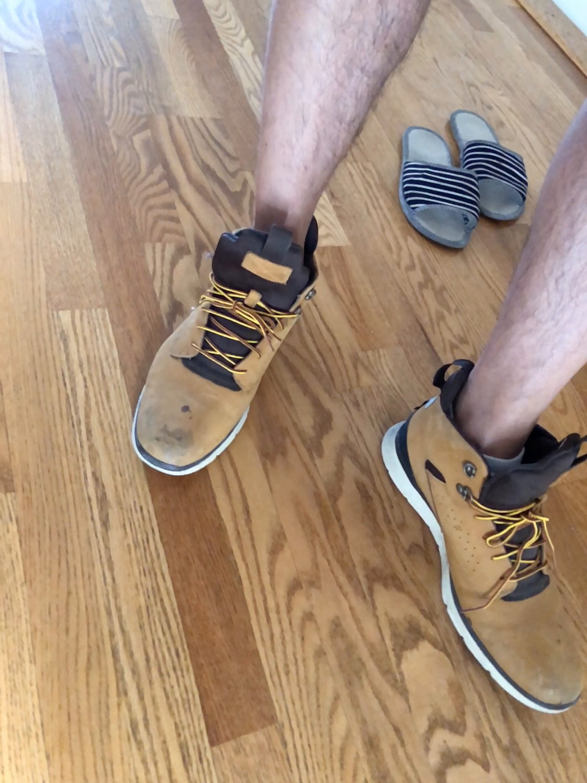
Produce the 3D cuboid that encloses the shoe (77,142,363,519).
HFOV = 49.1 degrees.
[{"bbox_3d":[-0.059,-0.068,0.595,0.120,0.149,0.312,26,51,-1],"label":"shoe"}]

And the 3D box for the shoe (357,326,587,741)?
[{"bbox_3d":[0.188,0.107,0.542,0.120,0.139,0.291,-9,60,-26],"label":"shoe"}]
